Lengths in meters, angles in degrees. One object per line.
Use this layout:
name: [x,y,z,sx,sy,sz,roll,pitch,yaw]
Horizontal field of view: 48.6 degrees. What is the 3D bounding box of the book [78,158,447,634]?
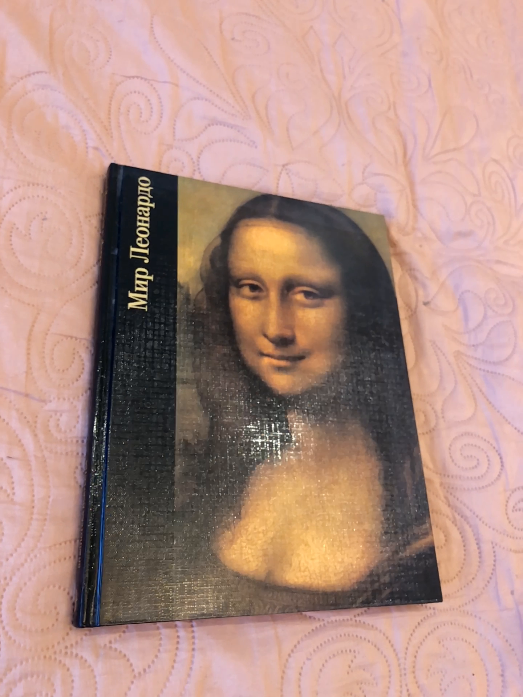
book: [0.002,0.021,0.372,0.210,0.030,0.273,5,68,-21]
